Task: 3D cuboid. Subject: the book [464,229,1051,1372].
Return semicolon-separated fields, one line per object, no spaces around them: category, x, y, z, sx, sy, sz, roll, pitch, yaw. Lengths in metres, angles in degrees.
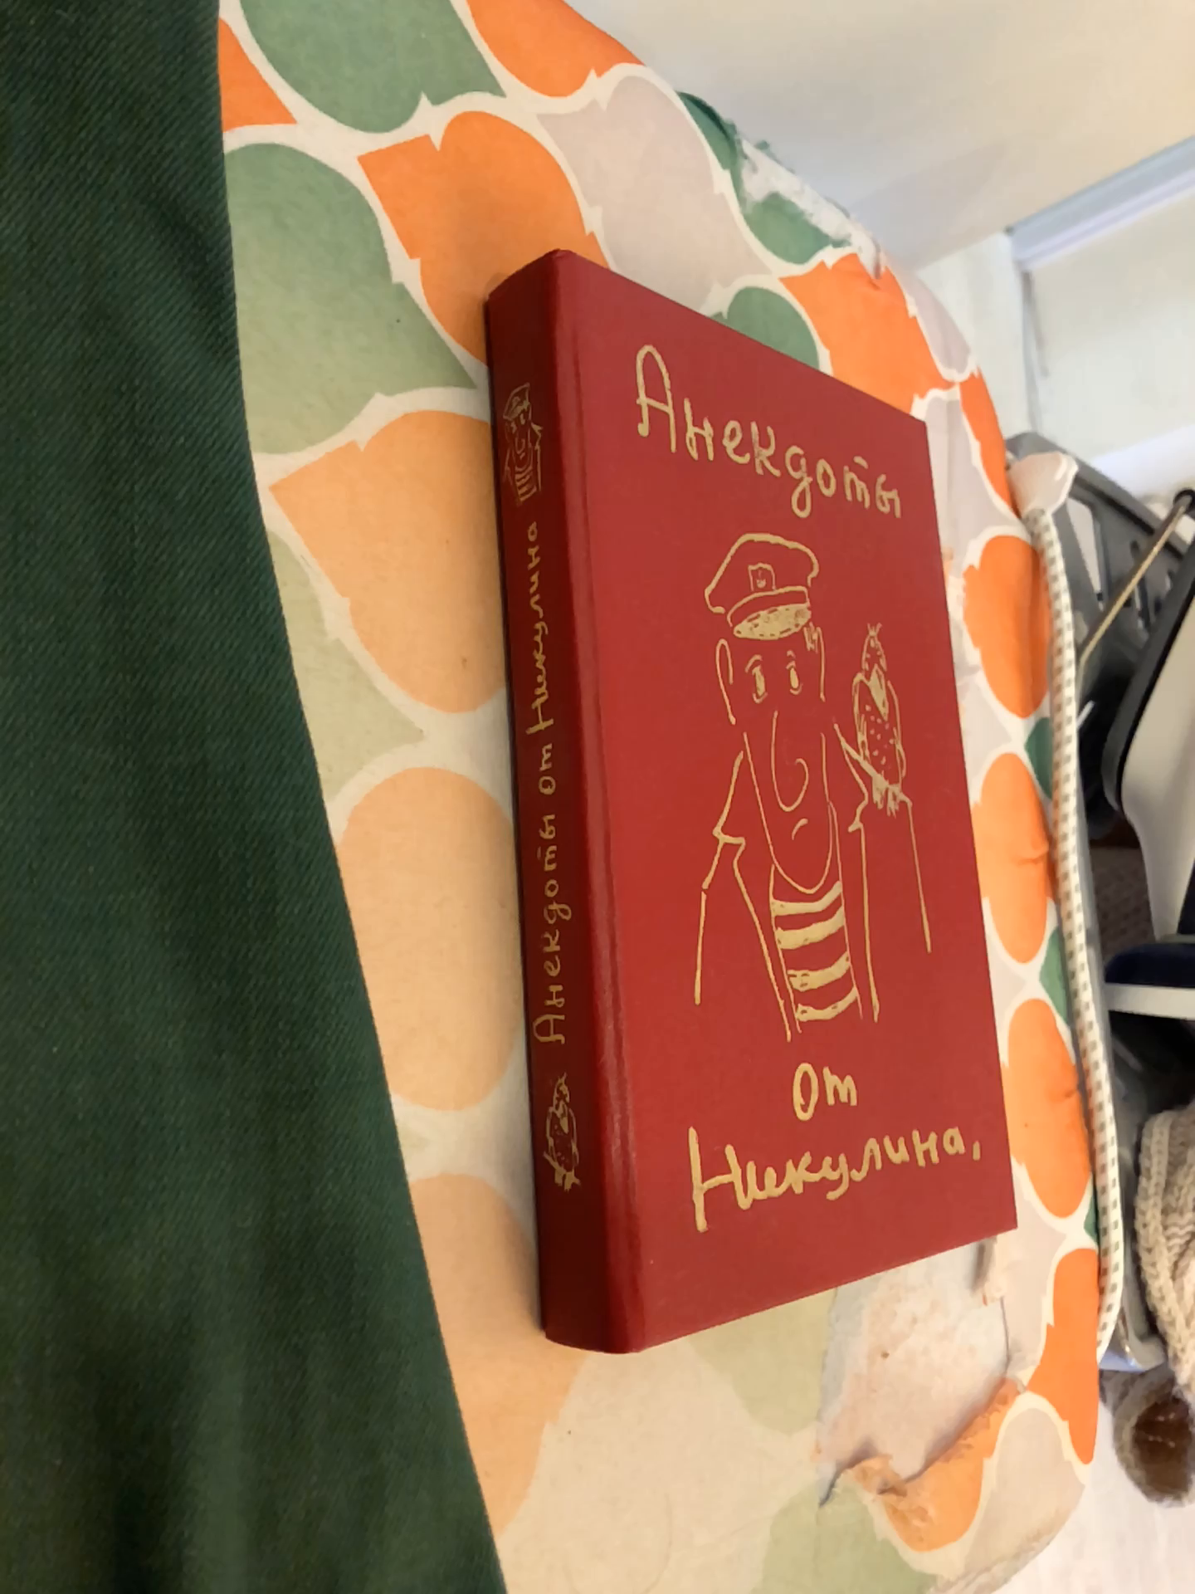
book;0.041;0.000;0.296;0.141;0.030;0.207;5;77;-45
